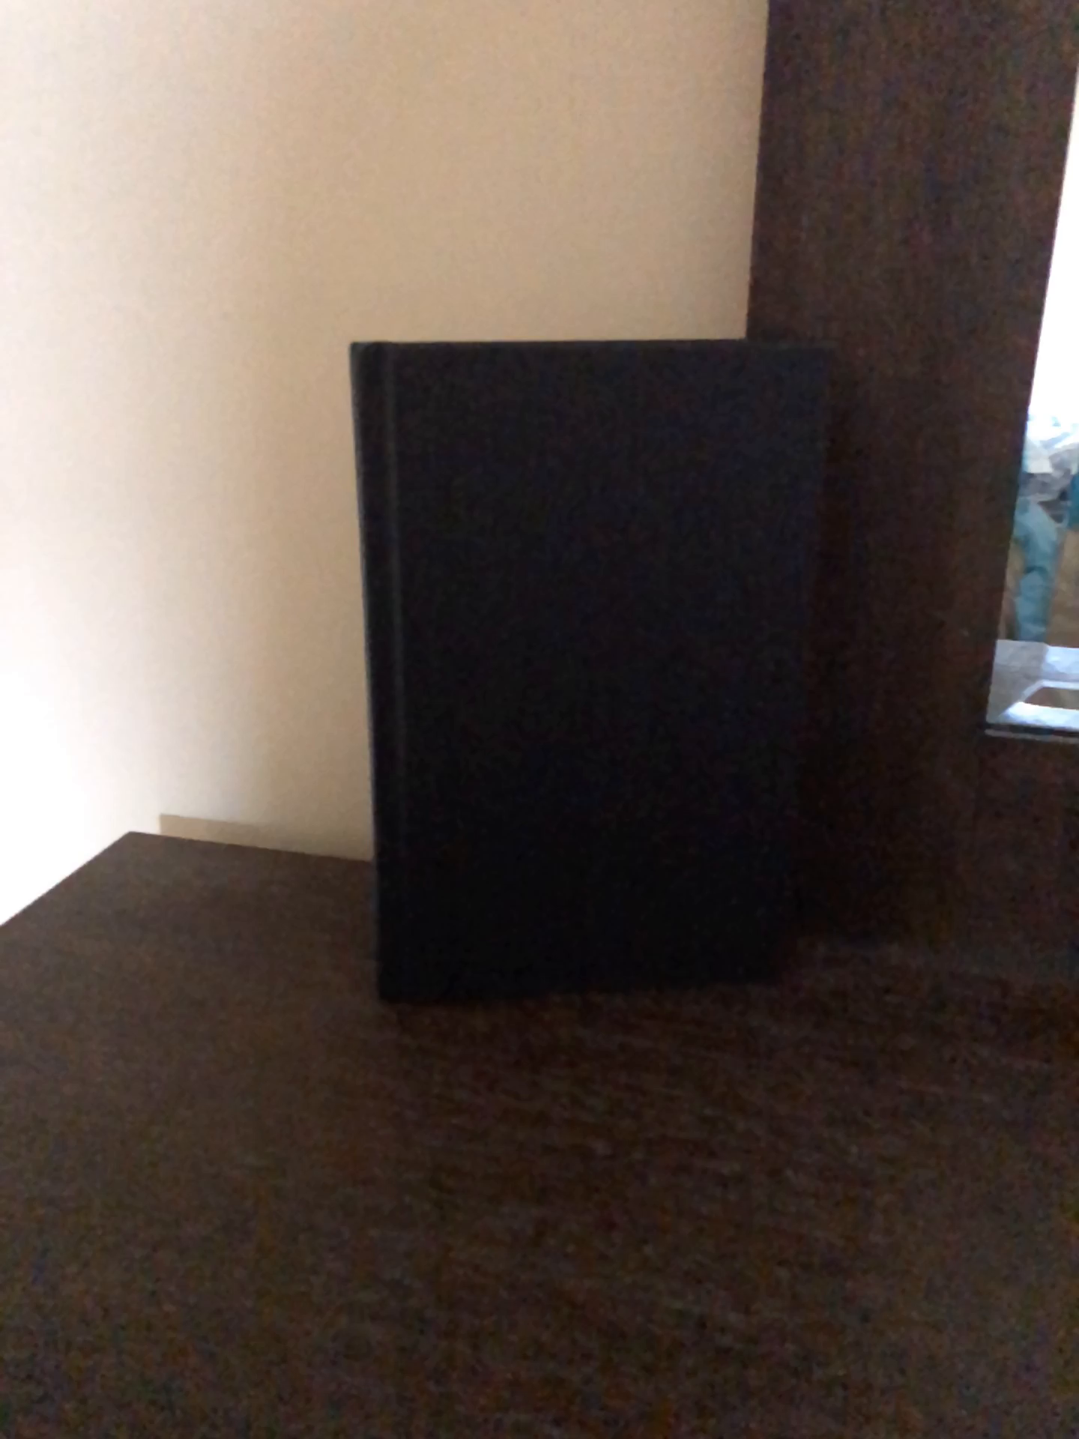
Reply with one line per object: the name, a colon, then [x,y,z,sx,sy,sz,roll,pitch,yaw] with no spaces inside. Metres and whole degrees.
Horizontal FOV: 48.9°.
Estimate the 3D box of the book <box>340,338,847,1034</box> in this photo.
book: [0.015,-0.007,0.397,0.150,0.229,0.028,-2,19,-7]
